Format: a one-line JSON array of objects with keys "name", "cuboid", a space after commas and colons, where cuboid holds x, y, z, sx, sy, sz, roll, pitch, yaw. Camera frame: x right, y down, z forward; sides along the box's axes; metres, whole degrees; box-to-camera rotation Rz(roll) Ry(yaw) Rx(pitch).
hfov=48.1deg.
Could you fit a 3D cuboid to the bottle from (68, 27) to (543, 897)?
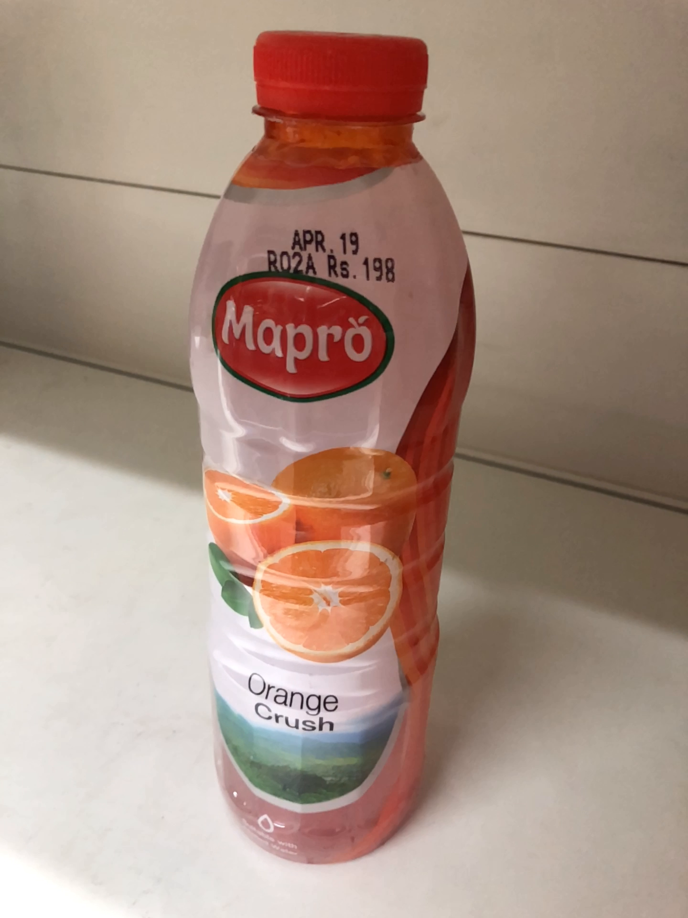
[{"name": "bottle", "cuboid": [-0.008, 0.013, 0.235, 0.090, 0.248, 0.070, 10, 30, 12]}]
